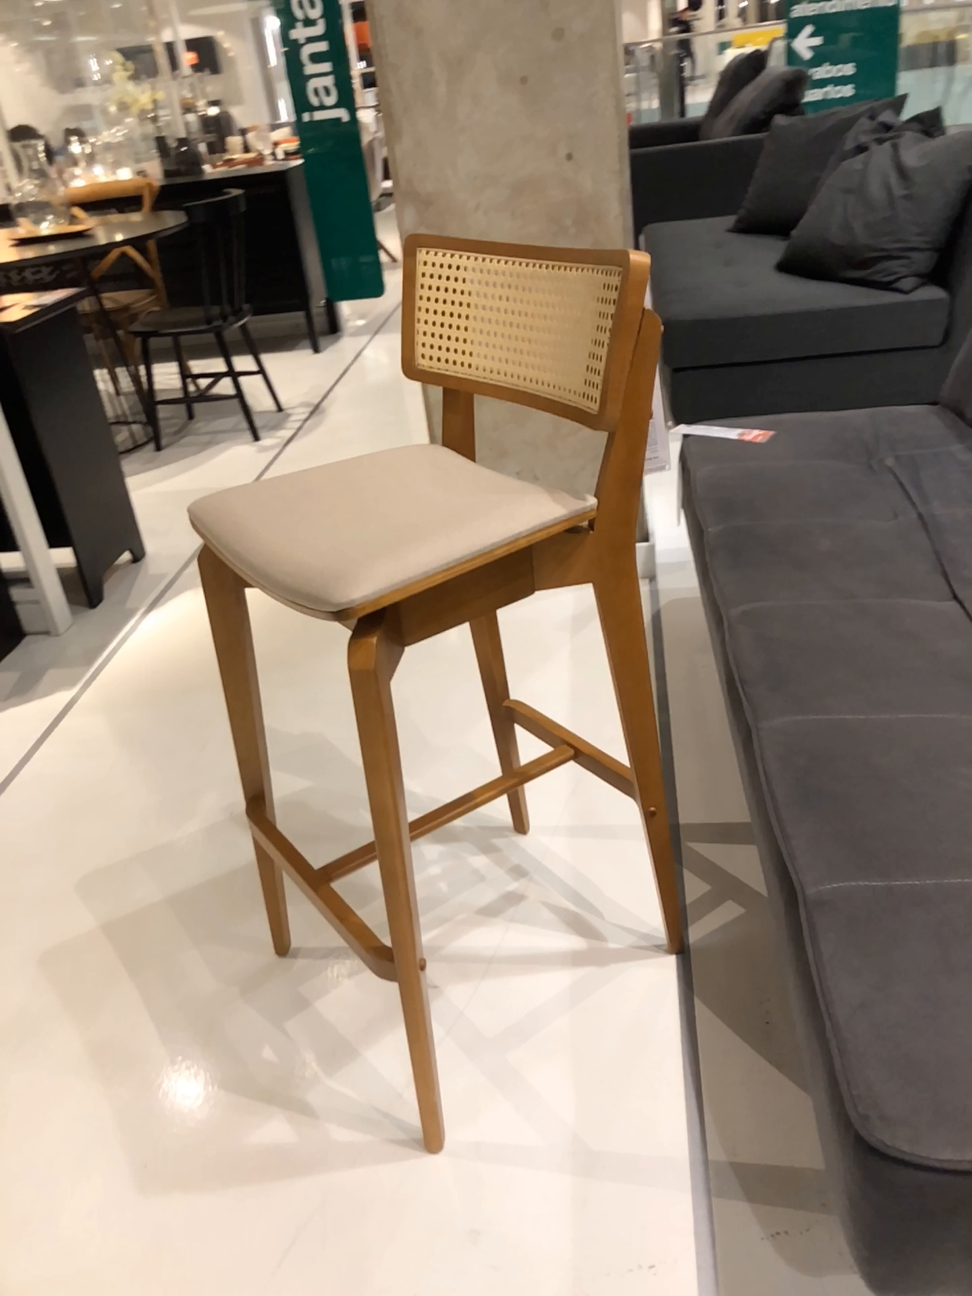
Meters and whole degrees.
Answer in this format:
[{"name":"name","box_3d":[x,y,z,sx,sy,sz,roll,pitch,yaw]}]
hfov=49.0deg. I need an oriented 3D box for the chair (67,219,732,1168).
[{"name":"chair","box_3d":[-0.060,0.020,1.341,0.521,0.963,0.473,-23,31,-28]}]
